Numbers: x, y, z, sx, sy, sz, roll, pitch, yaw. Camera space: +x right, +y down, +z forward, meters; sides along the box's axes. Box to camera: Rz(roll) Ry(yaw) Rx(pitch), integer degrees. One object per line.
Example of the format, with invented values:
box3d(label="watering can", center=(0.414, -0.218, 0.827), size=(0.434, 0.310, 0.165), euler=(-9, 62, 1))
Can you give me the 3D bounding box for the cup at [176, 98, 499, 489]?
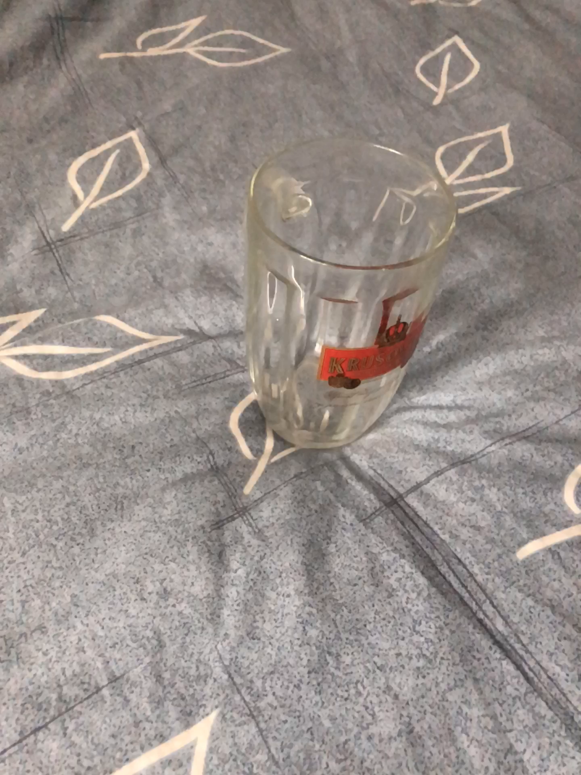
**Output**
box3d(label="cup", center=(0.017, -0.049, 0.342), size=(0.091, 0.136, 0.128), euler=(-24, 55, -18))
